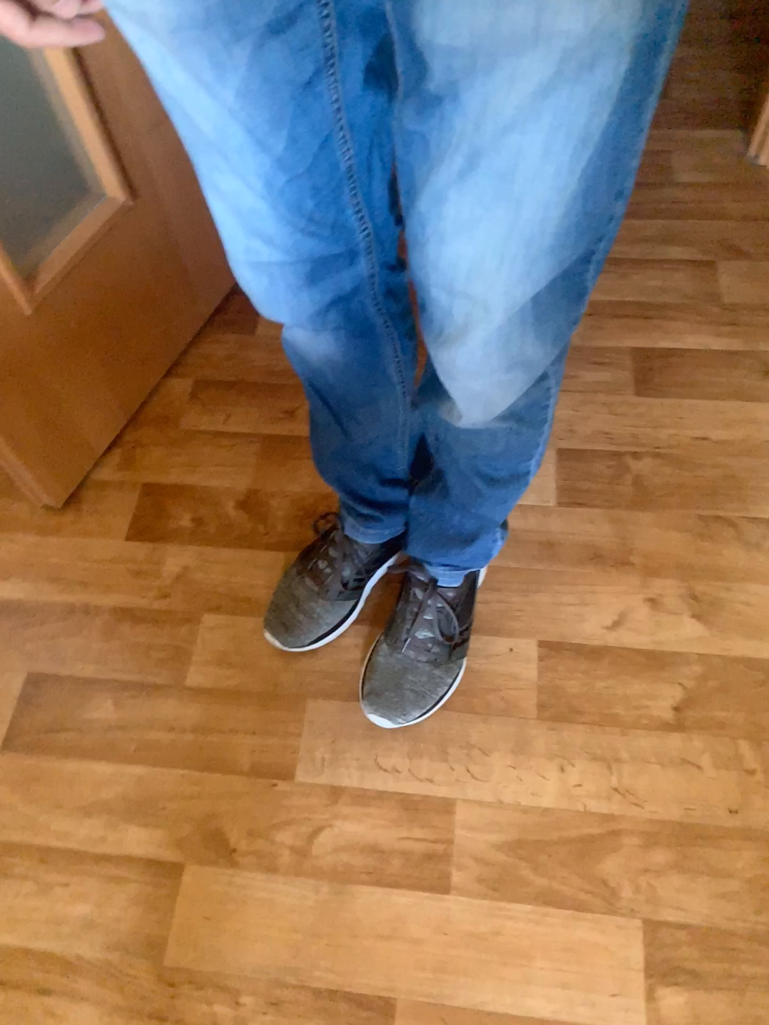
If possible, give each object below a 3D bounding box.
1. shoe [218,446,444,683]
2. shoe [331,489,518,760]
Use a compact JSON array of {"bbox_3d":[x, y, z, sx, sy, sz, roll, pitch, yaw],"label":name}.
[{"bbox_3d":[-0.060,0.063,1.013,0.124,0.100,0.280,36,67,23],"label":"shoe"},{"bbox_3d":[0.057,0.131,0.963,0.134,0.100,0.291,16,61,14],"label":"shoe"}]
